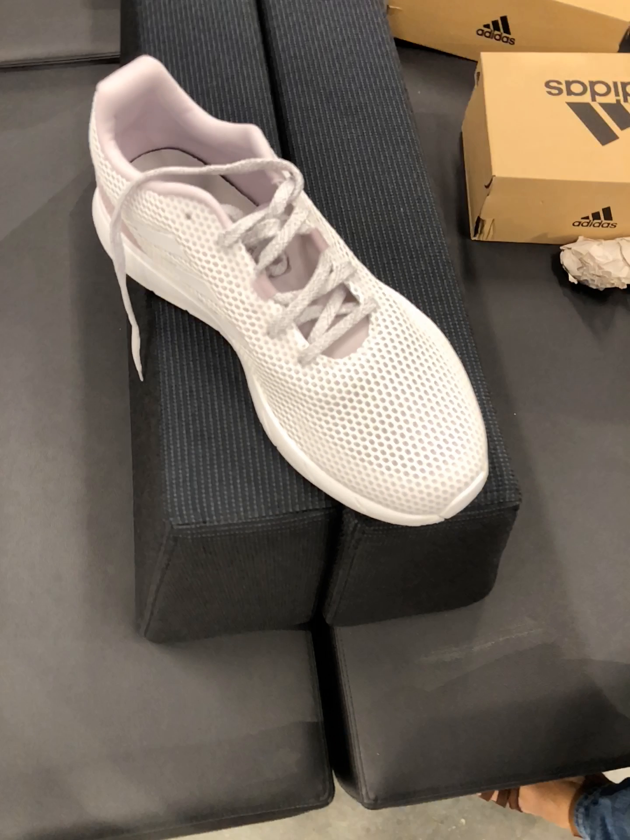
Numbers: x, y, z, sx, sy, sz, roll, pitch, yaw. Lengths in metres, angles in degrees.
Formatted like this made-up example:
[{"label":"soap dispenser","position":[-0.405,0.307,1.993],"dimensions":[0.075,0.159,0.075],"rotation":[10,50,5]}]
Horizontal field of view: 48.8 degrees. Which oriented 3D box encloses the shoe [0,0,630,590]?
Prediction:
[{"label":"shoe","position":[-0.011,-0.068,0.369],"dimensions":[0.120,0.140,0.280],"rotation":[-40,72,-18]}]
